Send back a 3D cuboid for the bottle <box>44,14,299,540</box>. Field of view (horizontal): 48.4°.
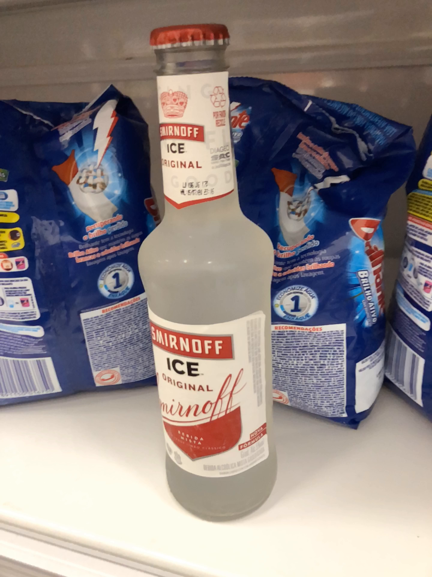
[{"bbox_3d":[-0.008,0.002,0.215,0.070,0.209,0.060,9,27,26],"label":"bottle"}]
